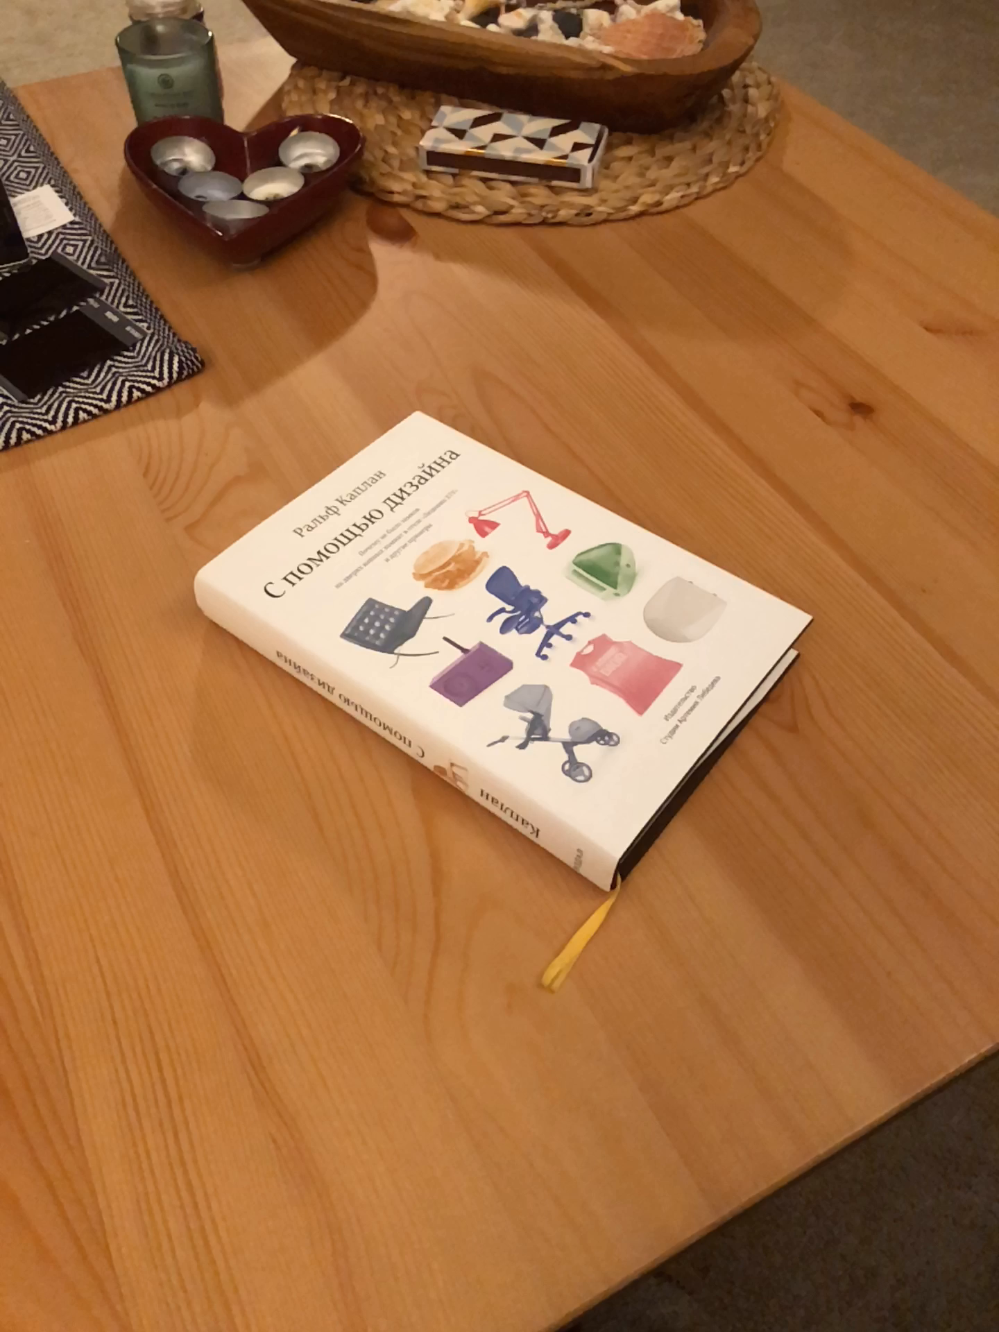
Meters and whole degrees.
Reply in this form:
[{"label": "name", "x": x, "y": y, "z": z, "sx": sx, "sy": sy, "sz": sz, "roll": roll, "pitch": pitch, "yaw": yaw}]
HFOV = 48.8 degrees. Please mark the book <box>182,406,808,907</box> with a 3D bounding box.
[{"label": "book", "x": -0.003, "y": -0.020, "z": 0.490, "sx": 0.226, "sy": 0.034, "sz": 0.152, "roll": 32, "pitch": 57, "yaw": 22}]
